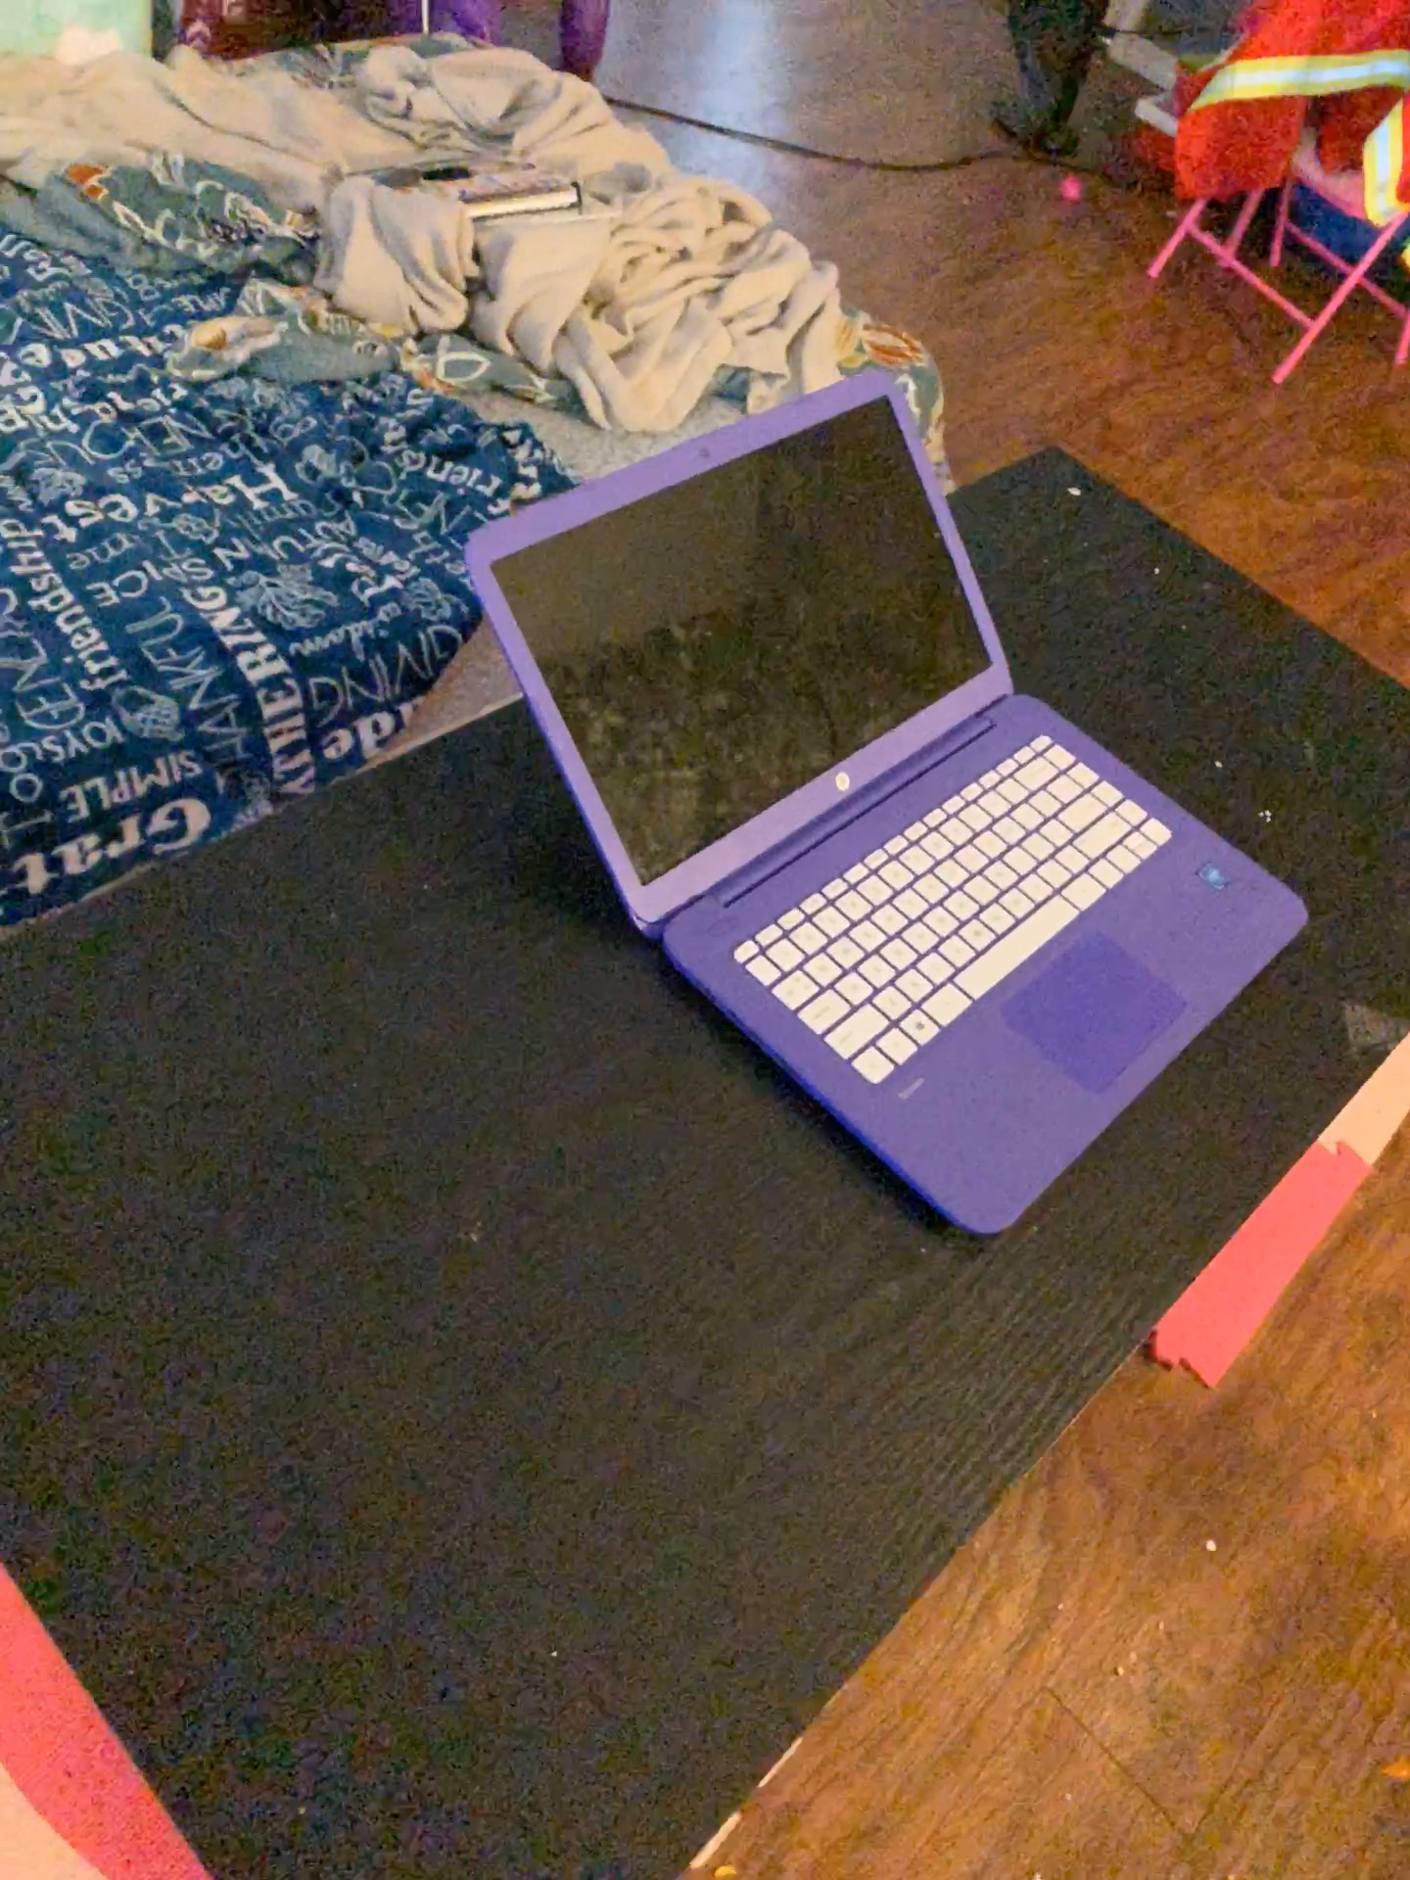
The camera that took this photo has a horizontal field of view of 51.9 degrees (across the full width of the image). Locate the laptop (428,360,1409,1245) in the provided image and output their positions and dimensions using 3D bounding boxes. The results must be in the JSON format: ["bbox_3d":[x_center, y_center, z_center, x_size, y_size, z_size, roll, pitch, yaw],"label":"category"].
[{"bbox_3d":[0.116,-0.107,0.775,0.341,0.132,0.397,-34,67,-34],"label":"laptop"}]
